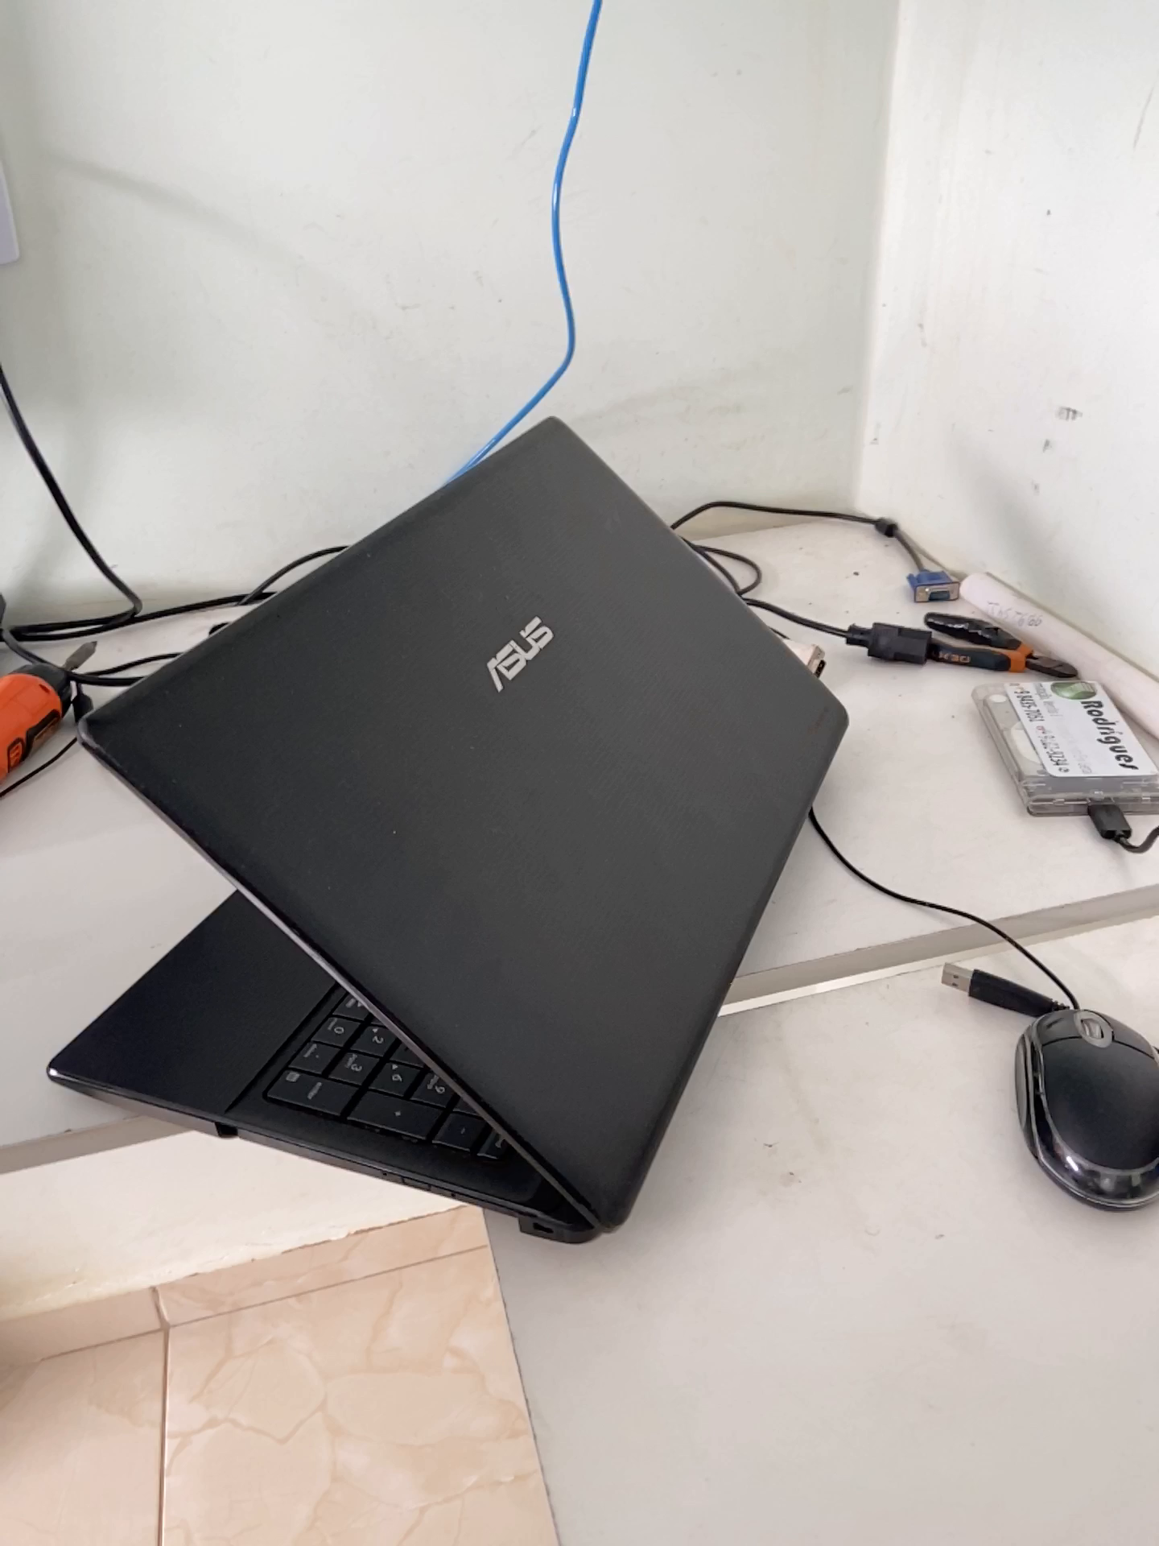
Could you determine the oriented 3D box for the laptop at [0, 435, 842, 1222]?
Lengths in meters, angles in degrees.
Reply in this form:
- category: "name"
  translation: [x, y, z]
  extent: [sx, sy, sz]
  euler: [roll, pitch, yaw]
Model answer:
- category: "laptop"
  translation: [-0.045, -0.025, 0.568]
  extent: [0.246, 0.166, 0.378]
  euler: [8, 33, 23]
